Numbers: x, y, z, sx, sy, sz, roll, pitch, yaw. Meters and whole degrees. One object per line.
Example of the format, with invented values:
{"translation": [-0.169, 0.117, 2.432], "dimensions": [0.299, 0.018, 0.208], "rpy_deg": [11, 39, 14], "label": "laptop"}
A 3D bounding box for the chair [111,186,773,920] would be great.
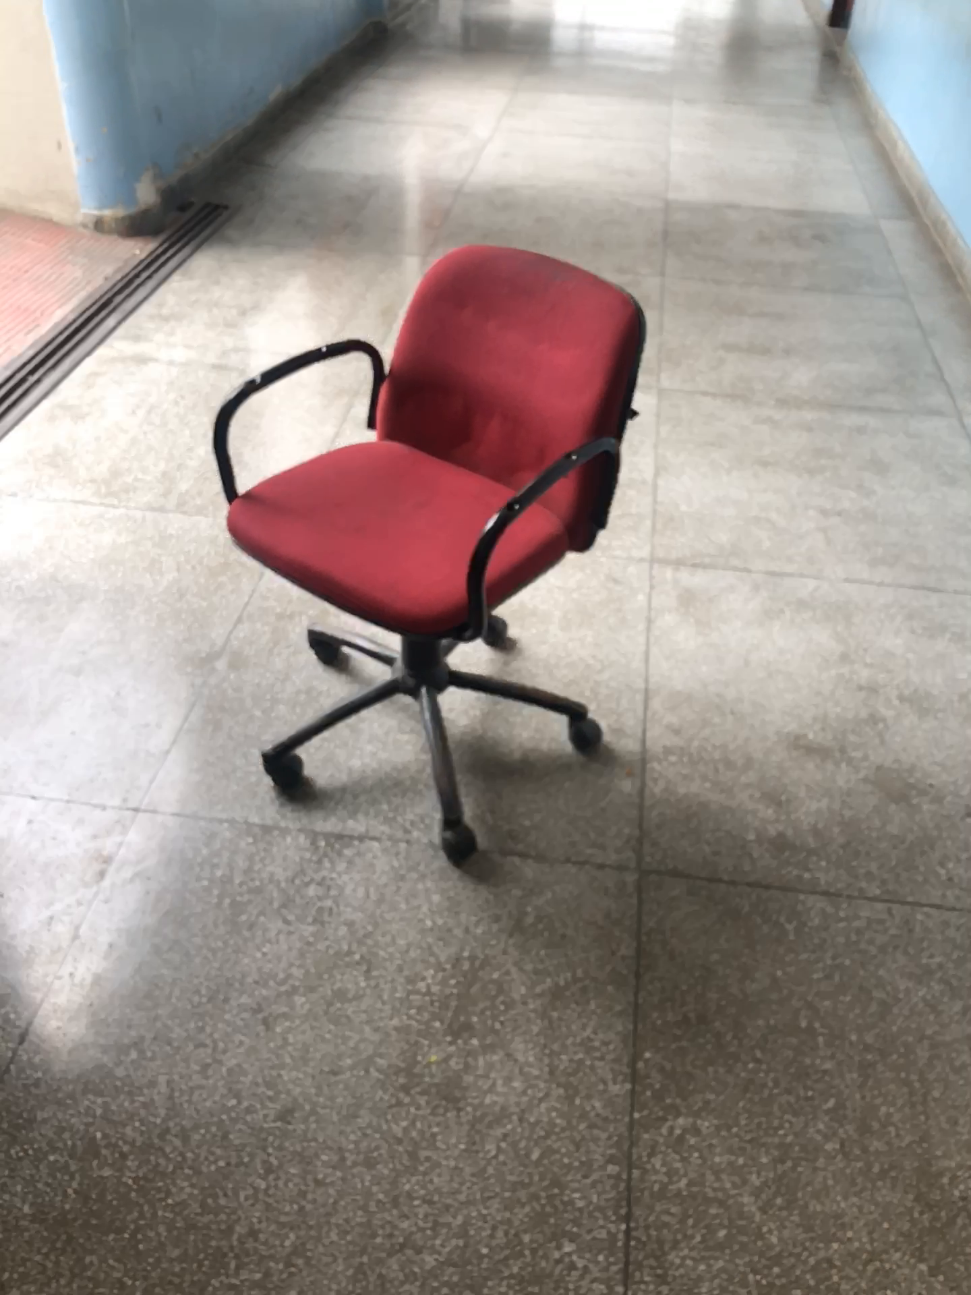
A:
{"translation": [-0.055, -0.186, 1.729], "dimensions": [0.651, 0.797, 0.642], "rpy_deg": [26, 44, 26], "label": "chair"}
